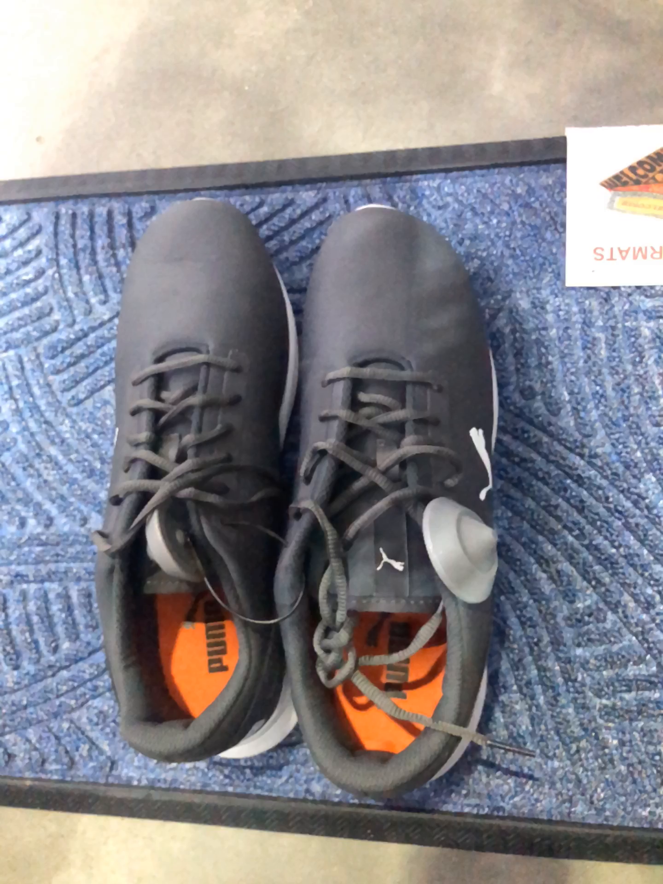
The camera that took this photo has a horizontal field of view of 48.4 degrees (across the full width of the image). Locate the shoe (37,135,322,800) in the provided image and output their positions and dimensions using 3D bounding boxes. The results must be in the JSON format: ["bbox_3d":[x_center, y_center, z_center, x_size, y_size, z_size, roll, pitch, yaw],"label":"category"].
[{"bbox_3d":[-0.070,0.010,0.390,0.110,0.100,0.300,-2,81,10],"label":"shoe"}]

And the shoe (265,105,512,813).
[{"bbox_3d":[0.032,0.005,0.369,0.100,0.100,0.300,-1,82,10],"label":"shoe"}]
